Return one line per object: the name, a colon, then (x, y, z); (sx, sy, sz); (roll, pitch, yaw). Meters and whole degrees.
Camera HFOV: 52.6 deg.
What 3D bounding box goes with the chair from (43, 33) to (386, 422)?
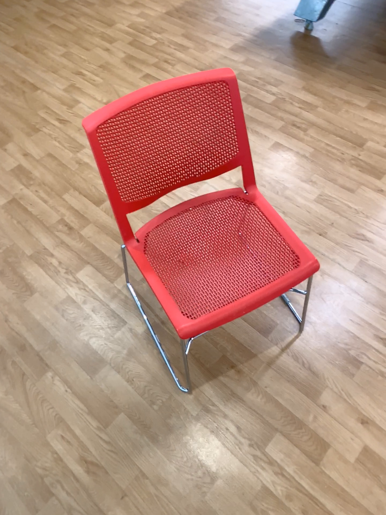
chair: (0.085, -0.050, 1.087); (0.601, 0.705, 0.593); (-26, 58, -14)
